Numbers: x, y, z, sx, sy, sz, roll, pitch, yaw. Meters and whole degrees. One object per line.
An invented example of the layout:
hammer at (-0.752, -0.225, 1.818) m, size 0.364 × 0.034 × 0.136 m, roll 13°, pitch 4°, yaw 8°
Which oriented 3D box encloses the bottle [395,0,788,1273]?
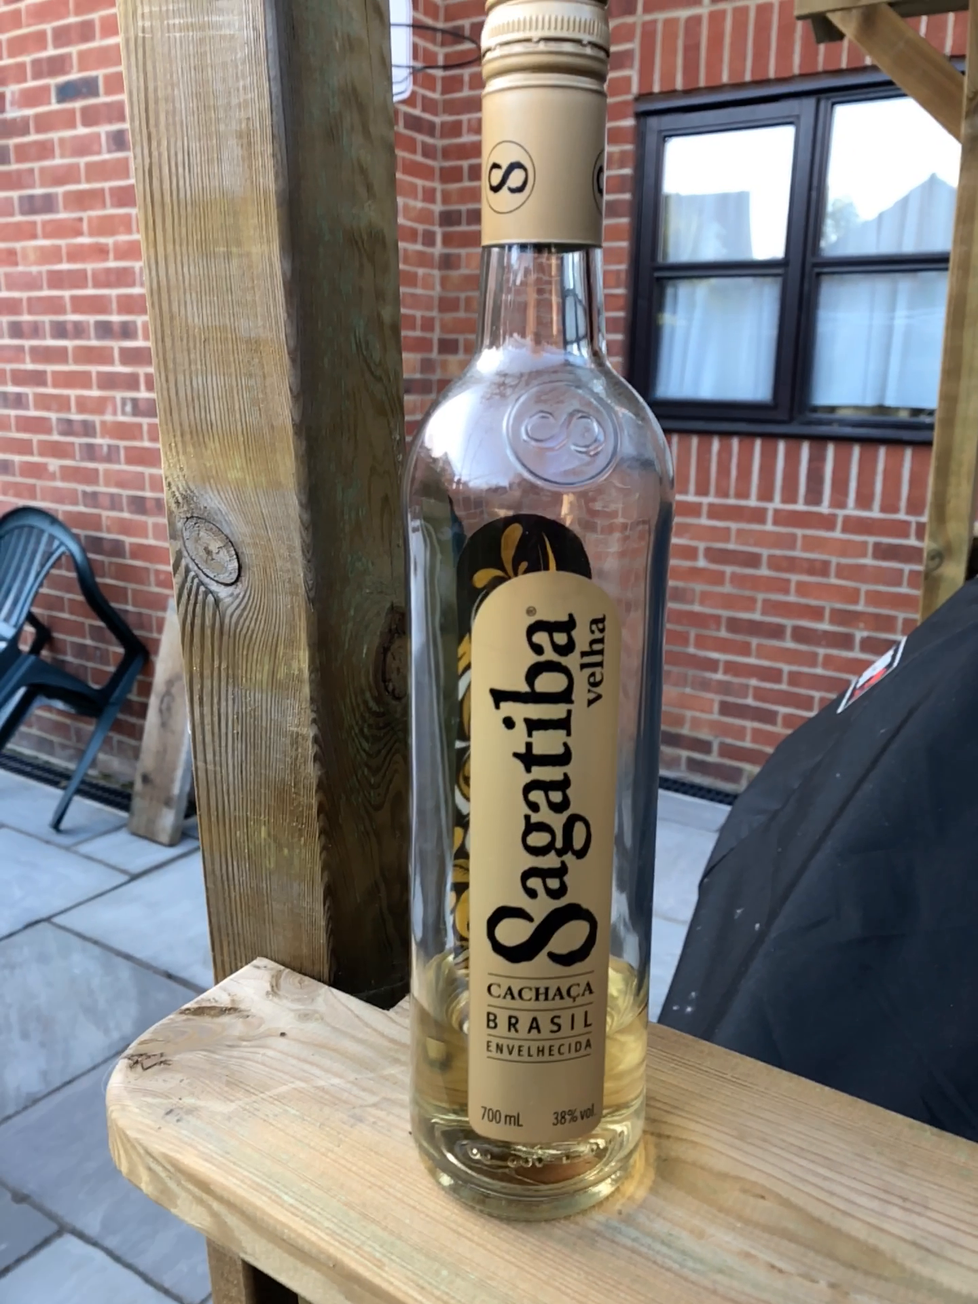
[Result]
bottle at (0.019, 0.003, 0.291) m, size 0.080 × 0.329 × 0.060 m, roll 2°, pitch 13°, yaw 1°
